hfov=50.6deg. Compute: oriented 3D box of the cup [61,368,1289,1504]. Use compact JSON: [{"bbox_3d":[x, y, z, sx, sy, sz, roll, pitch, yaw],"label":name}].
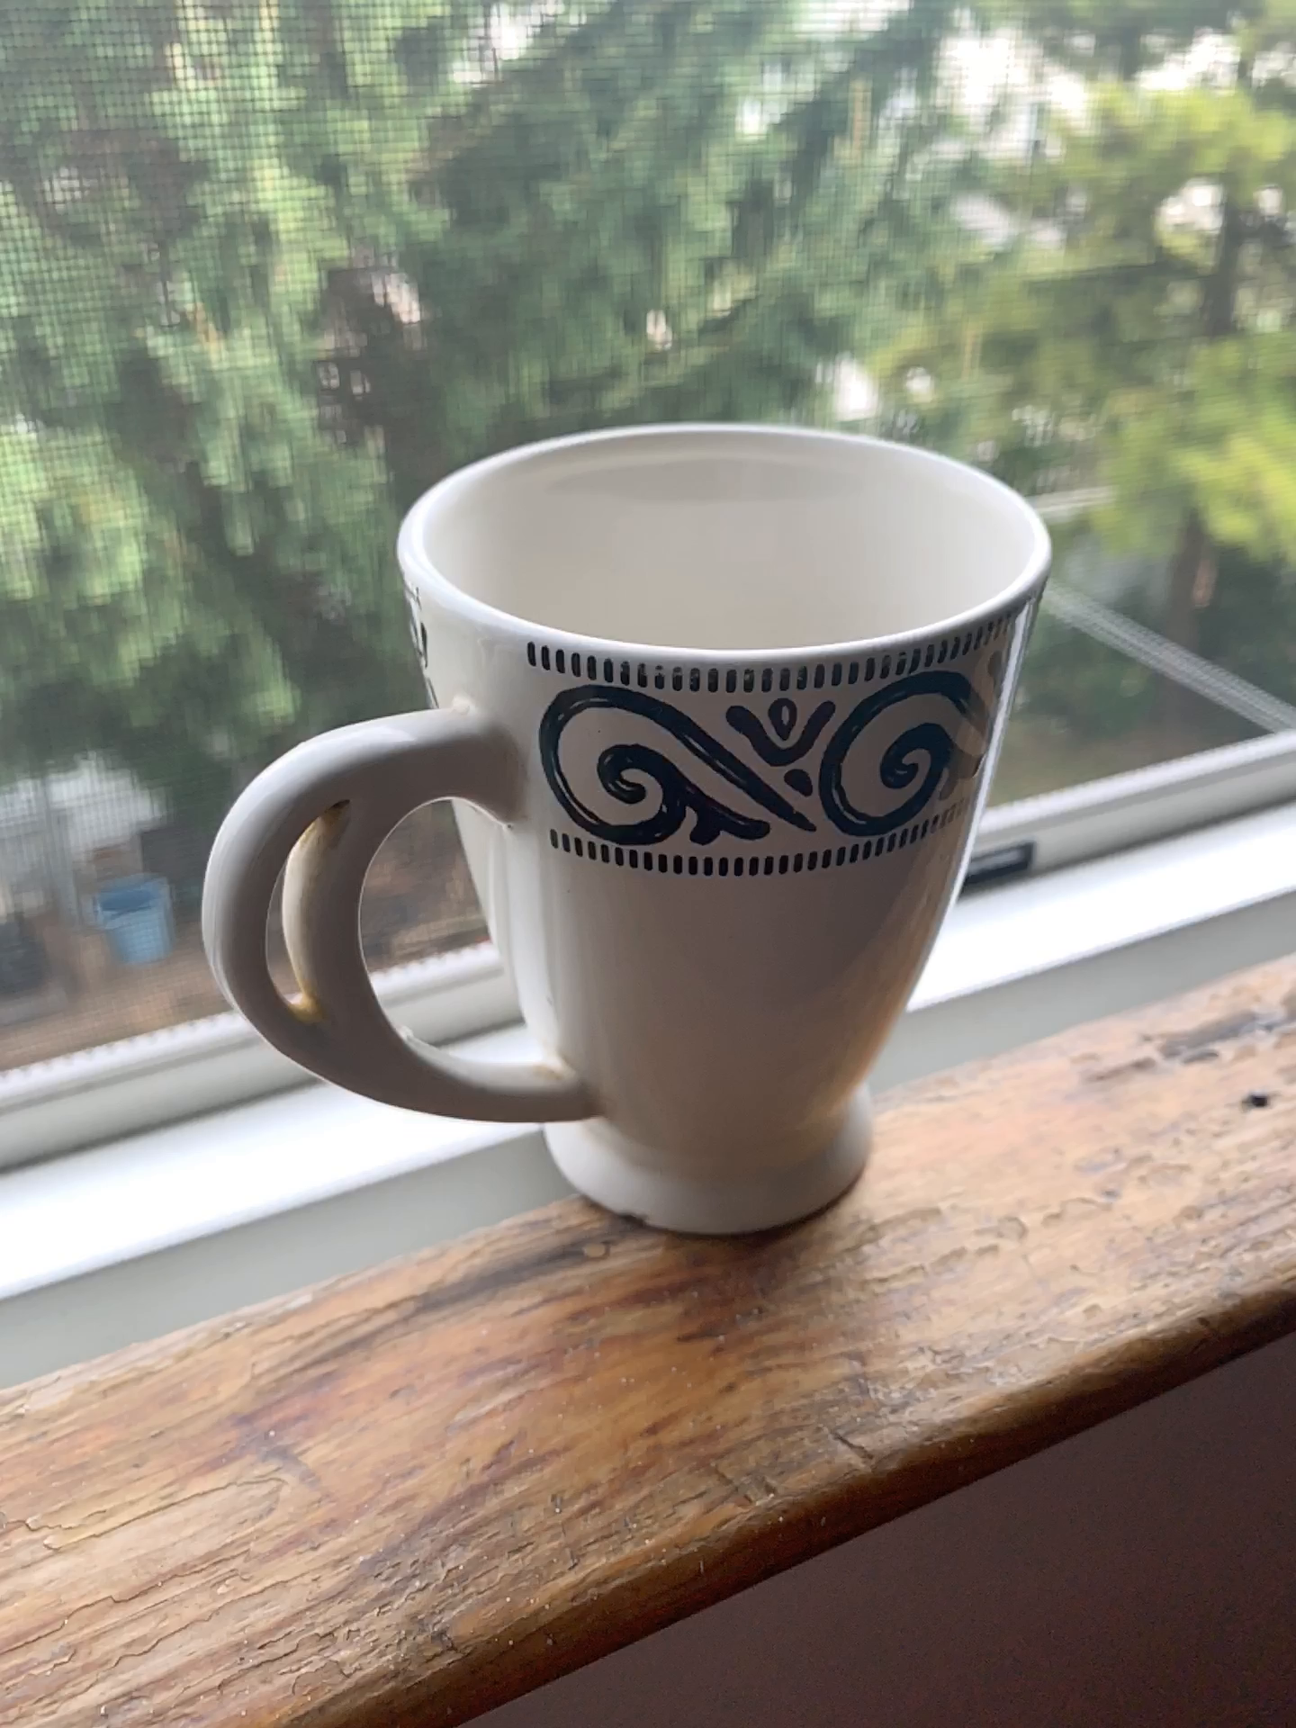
[{"bbox_3d":[0.008,-0.006,0.191,0.131,0.089,0.080,-25,40,-34],"label":"cup"}]
